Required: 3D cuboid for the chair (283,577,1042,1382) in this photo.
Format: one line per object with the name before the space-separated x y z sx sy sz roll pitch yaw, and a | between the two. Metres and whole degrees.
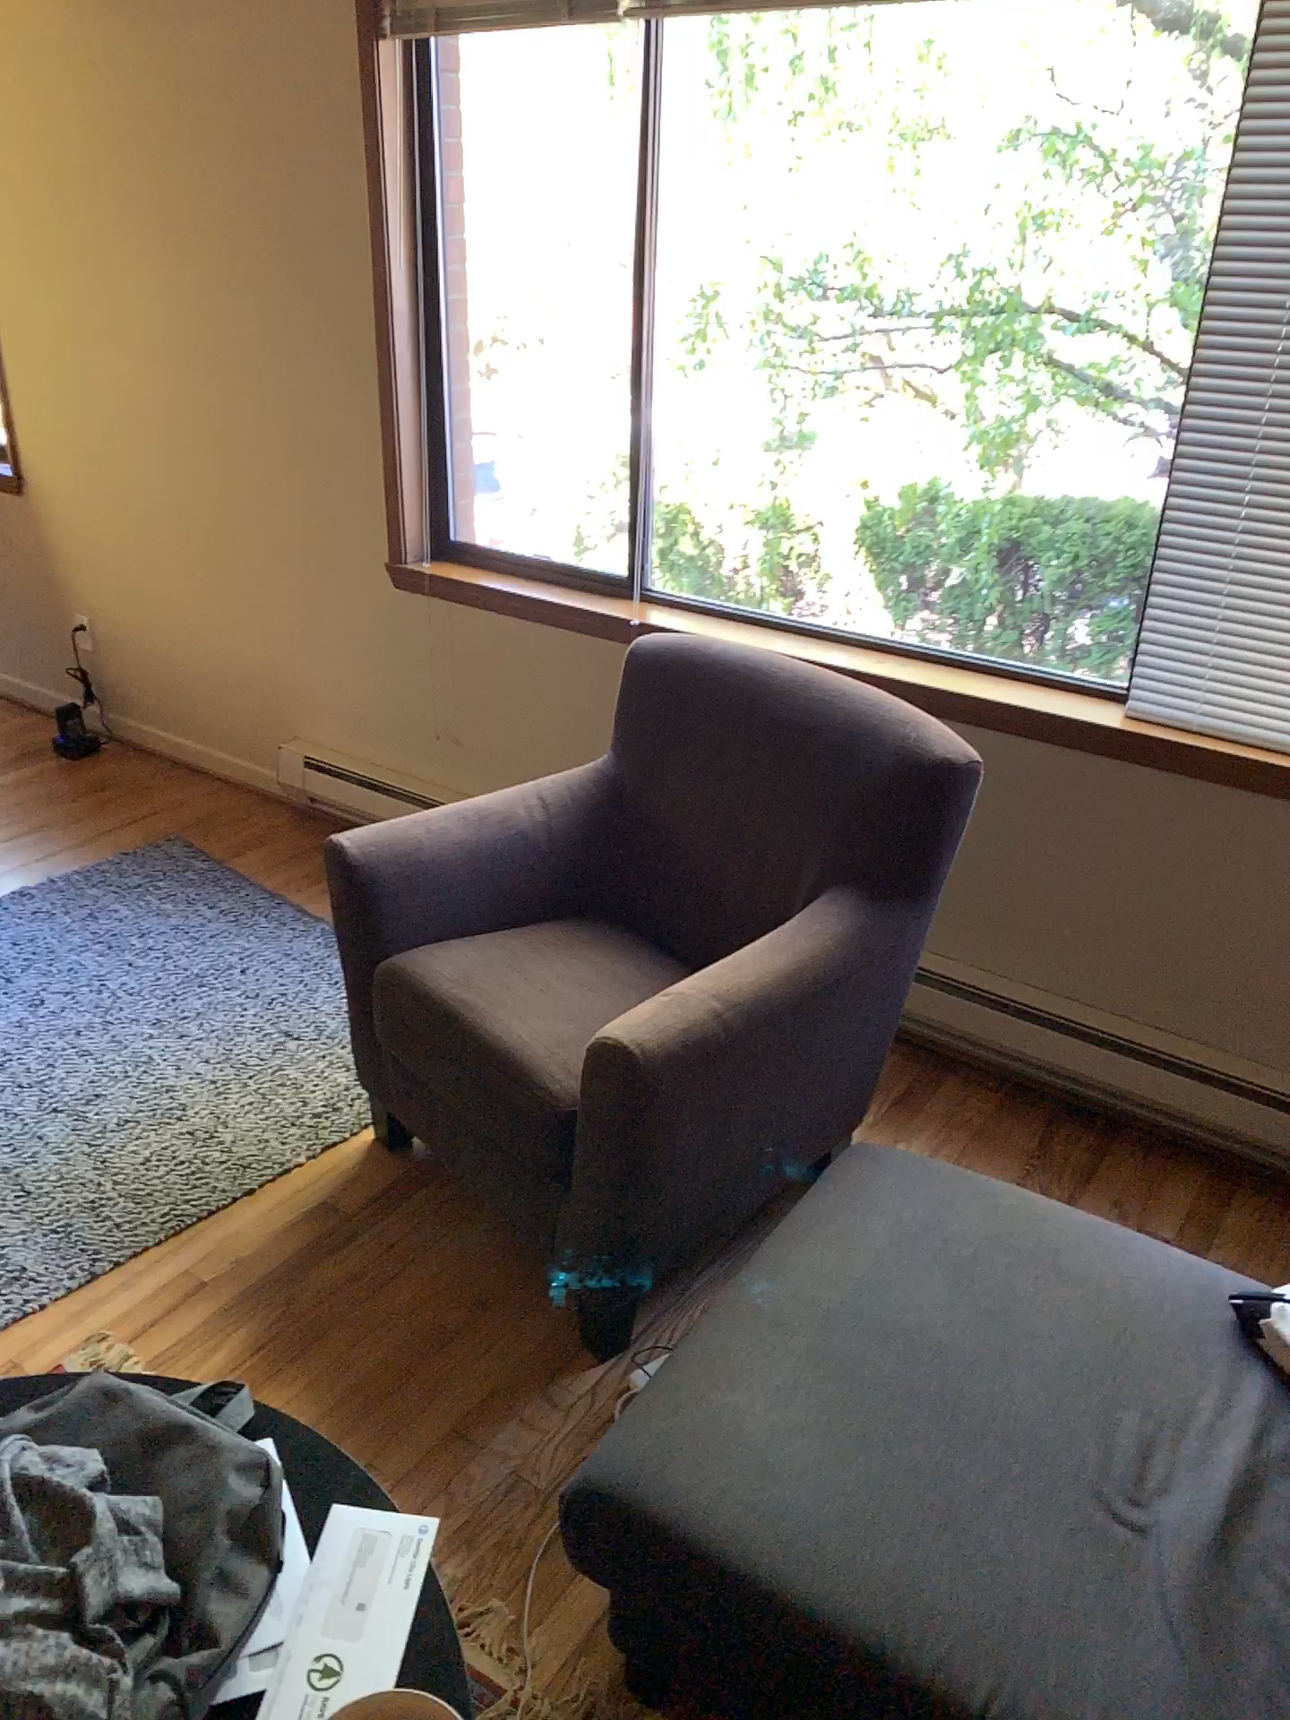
chair | -0.014 0.090 2.213 0.800 0.875 0.884 -17 31 -38
